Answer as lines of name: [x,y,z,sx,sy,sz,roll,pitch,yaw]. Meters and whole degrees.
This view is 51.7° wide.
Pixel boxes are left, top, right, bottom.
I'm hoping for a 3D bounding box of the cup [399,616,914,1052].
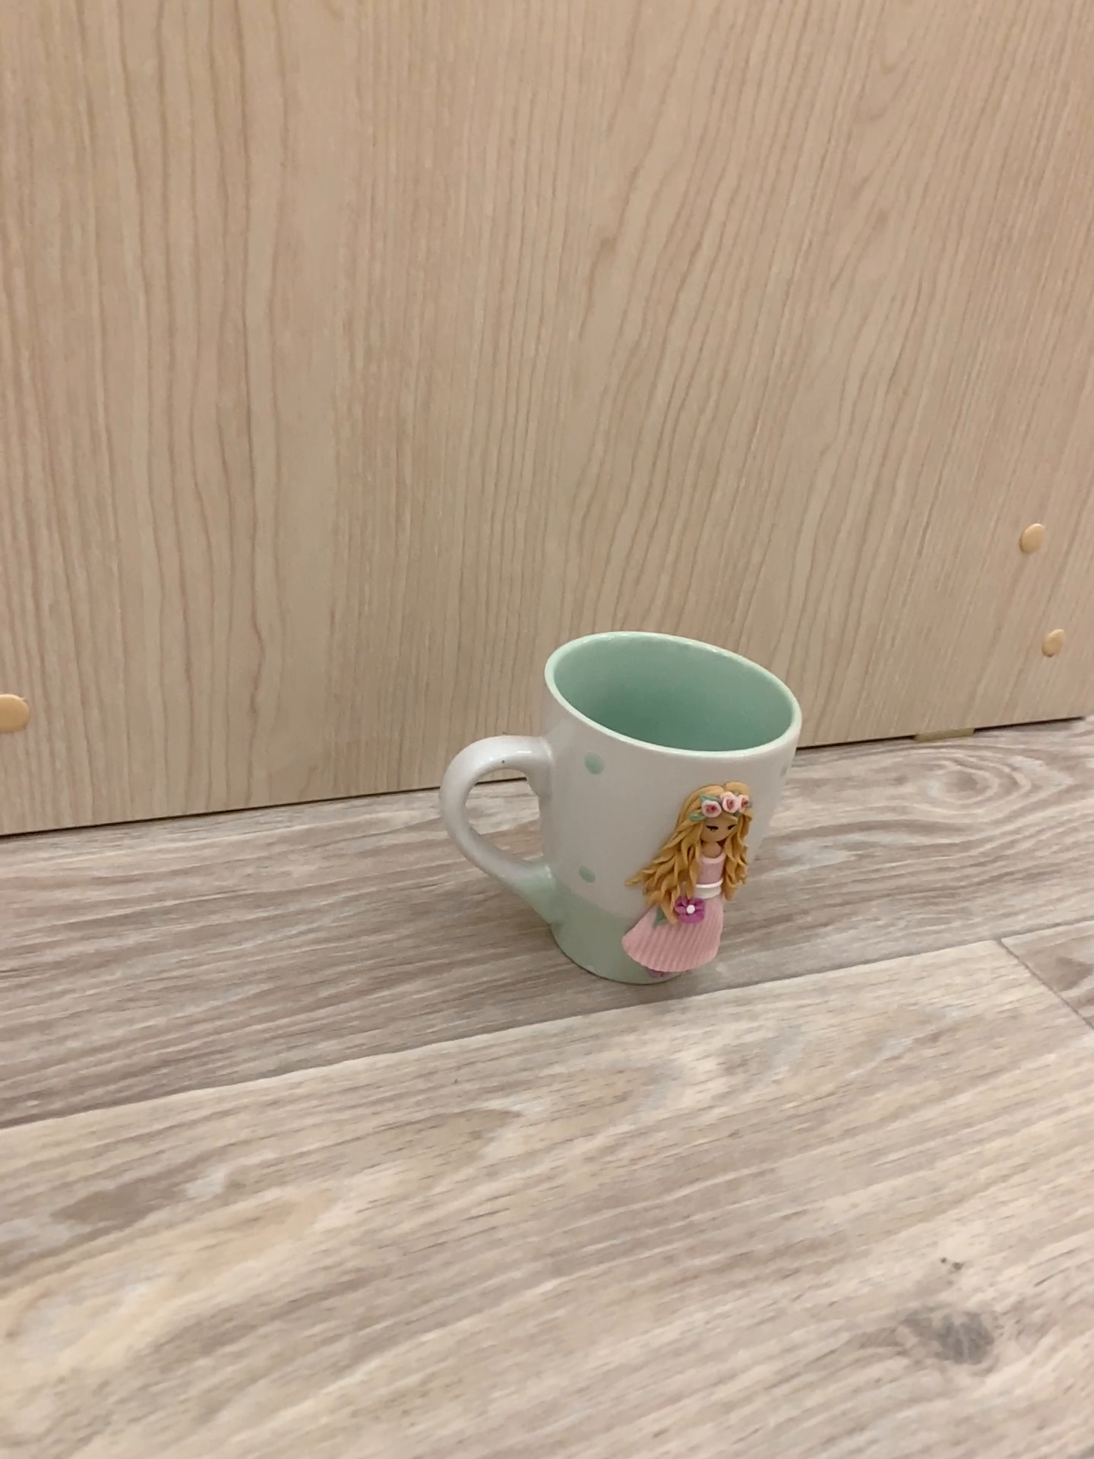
cup: [0.025,0.023,0.337,0.112,0.080,0.093,-4,30,-23]
